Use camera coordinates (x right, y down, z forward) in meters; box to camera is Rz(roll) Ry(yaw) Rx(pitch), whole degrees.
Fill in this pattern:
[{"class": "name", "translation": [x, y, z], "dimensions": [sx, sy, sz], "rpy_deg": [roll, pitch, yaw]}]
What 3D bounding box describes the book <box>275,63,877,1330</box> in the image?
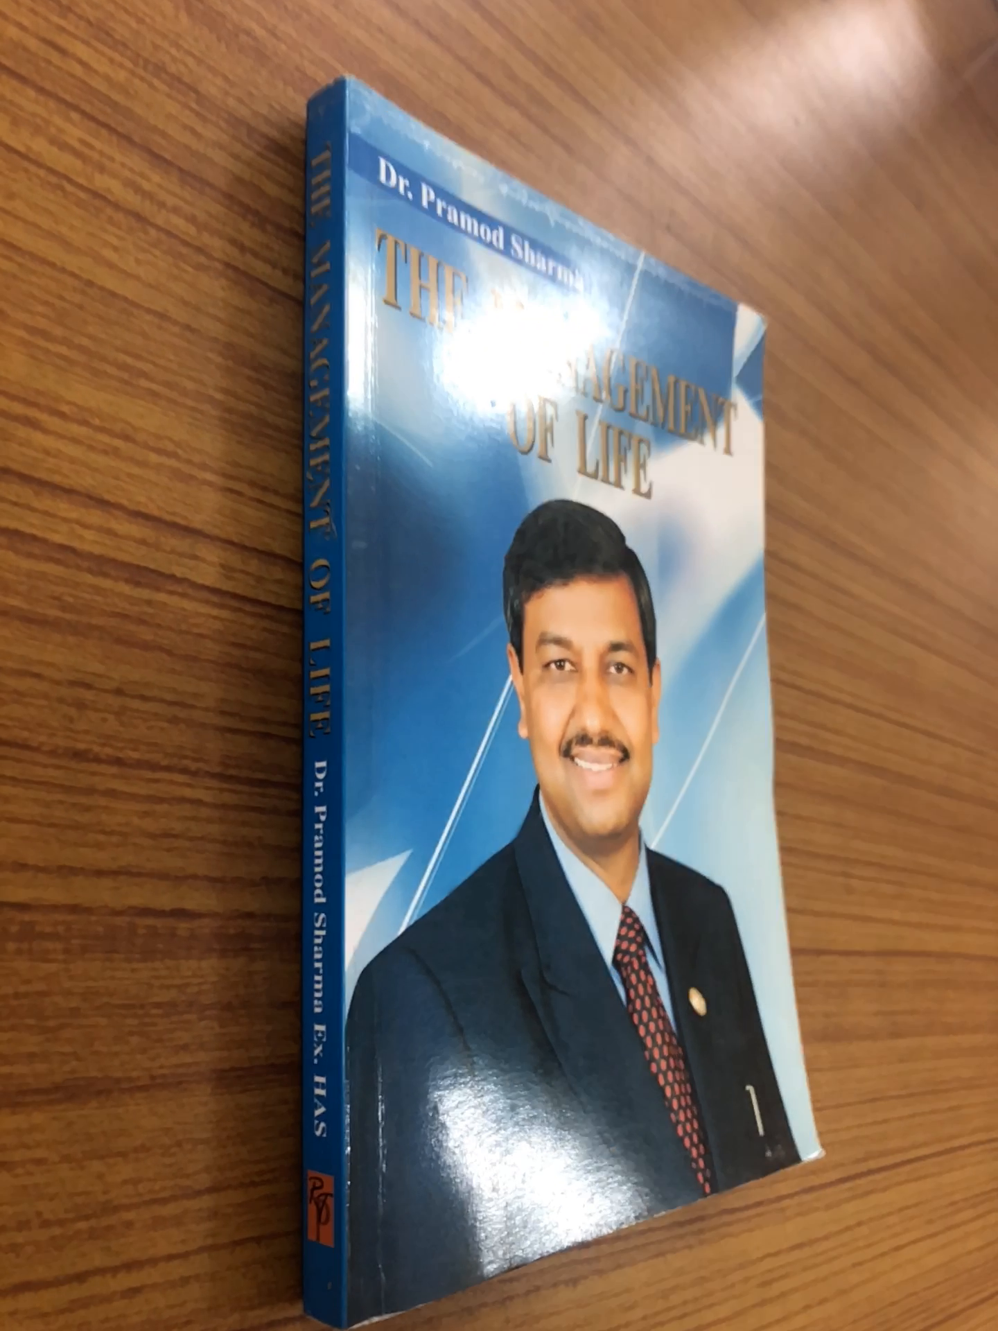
[{"class": "book", "translation": [0.024, 0.008, 0.237], "dimensions": [0.151, 0.020, 0.210], "rpy_deg": [8, 76, -43]}]
